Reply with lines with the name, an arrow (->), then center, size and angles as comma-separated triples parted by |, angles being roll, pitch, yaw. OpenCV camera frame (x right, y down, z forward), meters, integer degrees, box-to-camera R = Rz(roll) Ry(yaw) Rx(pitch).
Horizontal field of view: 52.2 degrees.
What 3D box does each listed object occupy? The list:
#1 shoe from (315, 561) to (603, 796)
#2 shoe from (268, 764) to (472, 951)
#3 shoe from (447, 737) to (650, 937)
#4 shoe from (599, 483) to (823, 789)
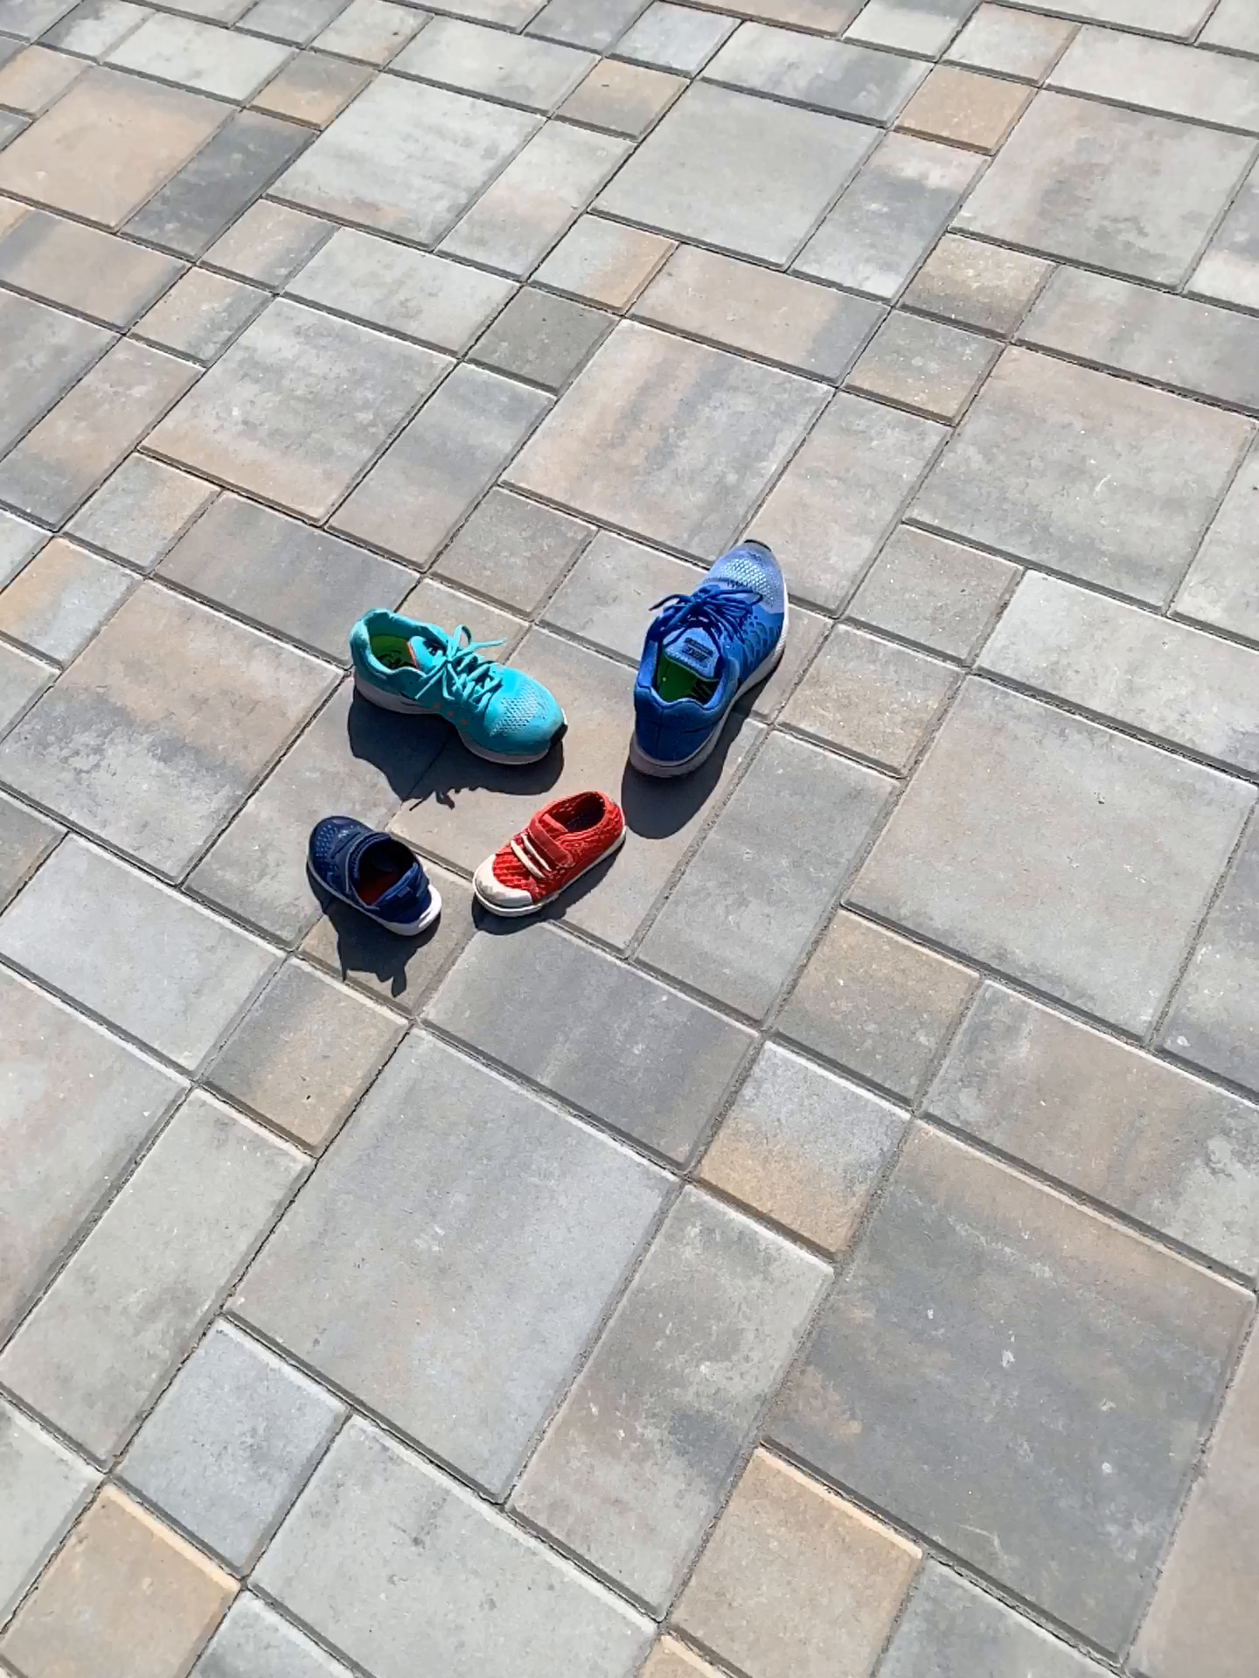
shoe -> -0.159, -0.152, 1.213 | 0.241, 0.100, 0.100 | 26, 69, 18
shoe -> -0.228, 0.016, 1.136 | 0.150, 0.070, 0.080 | 32, 71, 20
shoe -> -0.069, -0.002, 1.133 | 0.150, 0.080, 0.080 | -36, 65, -11
shoe -> 0.080, -0.188, 1.184 | 0.110, 0.110, 0.240 | 21, 68, 16
